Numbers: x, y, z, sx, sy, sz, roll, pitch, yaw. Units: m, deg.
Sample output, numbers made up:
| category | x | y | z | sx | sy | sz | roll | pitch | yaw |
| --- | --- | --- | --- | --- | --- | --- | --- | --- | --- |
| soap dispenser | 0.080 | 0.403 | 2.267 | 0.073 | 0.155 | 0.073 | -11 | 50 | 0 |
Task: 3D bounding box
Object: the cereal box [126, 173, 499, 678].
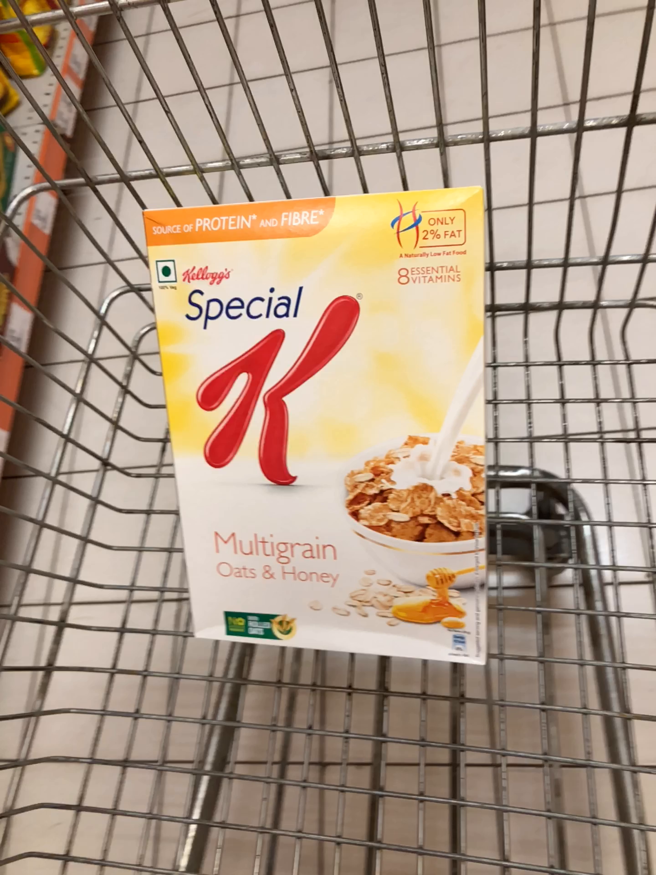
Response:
| category | x | y | z | sx | sy | sz | roll | pitch | yaw |
| --- | --- | --- | --- | --- | --- | --- | --- | --- | --- |
| cereal box | 0.003 | -0.008 | 0.439 | 0.190 | 0.090 | 0.269 | 1 | 107 | 14 |
